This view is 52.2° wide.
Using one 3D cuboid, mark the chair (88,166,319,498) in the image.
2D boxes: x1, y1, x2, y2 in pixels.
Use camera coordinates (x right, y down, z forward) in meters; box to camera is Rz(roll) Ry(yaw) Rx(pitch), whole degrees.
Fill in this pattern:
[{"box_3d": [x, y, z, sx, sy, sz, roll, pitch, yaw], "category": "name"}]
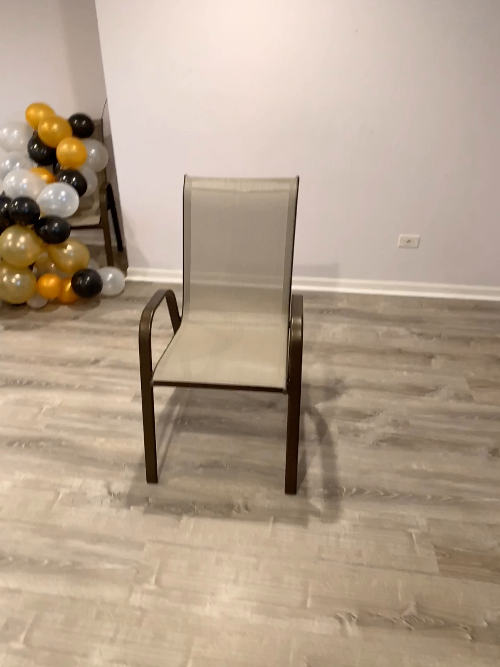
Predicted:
[{"box_3d": [-0.084, -0.046, 1.757, 0.564, 0.874, 0.720, 3, 29, 5], "category": "chair"}]
